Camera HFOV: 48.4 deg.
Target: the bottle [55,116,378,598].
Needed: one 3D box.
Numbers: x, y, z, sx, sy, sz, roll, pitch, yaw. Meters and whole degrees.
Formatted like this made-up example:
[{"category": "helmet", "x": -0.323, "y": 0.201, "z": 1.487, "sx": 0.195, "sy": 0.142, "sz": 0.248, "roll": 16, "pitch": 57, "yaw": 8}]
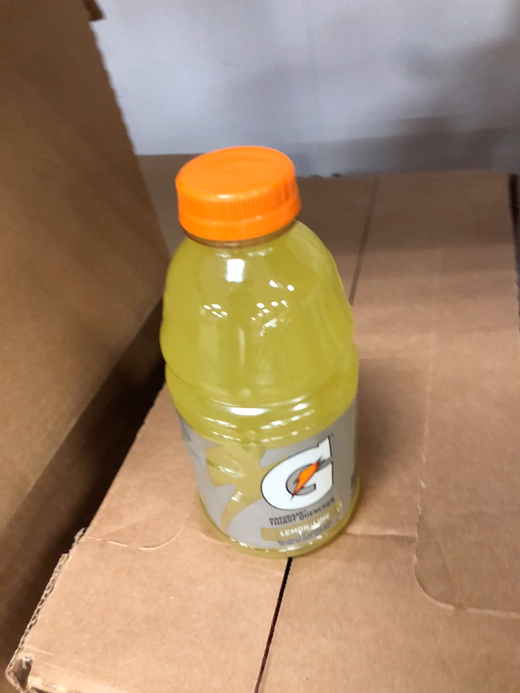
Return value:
[{"category": "bottle", "x": -0.010, "y": 0.017, "z": 0.286, "sx": 0.100, "sy": 0.209, "sz": 0.090, "roll": -18, "pitch": 41, "yaw": -6}]
